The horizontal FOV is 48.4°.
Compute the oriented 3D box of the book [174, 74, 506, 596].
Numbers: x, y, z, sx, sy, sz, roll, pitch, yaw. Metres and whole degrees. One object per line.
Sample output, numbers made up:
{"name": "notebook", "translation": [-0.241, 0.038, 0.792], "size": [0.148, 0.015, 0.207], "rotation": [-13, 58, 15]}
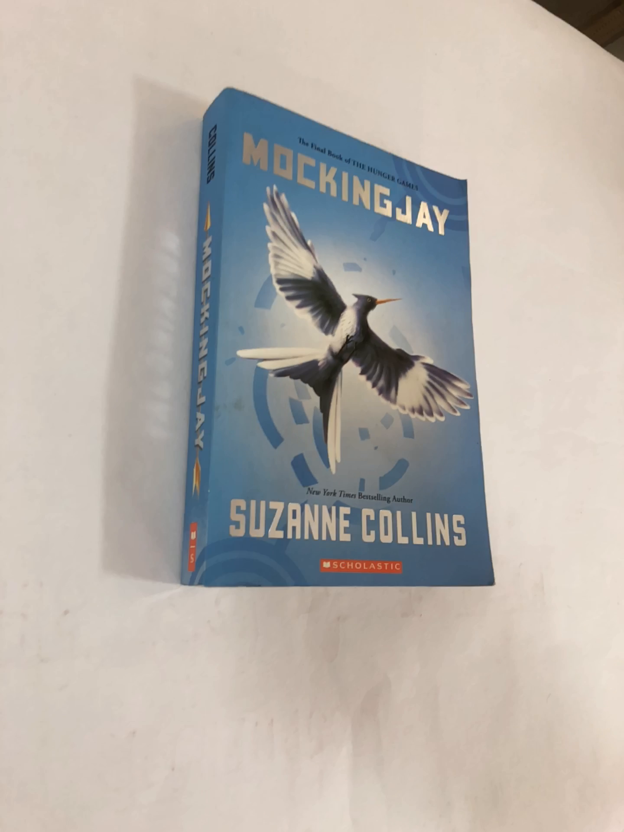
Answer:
{"name": "book", "translation": [0.018, -0.025, 0.290], "size": [0.139, 0.029, 0.190], "rotation": [9, 75, -33]}
